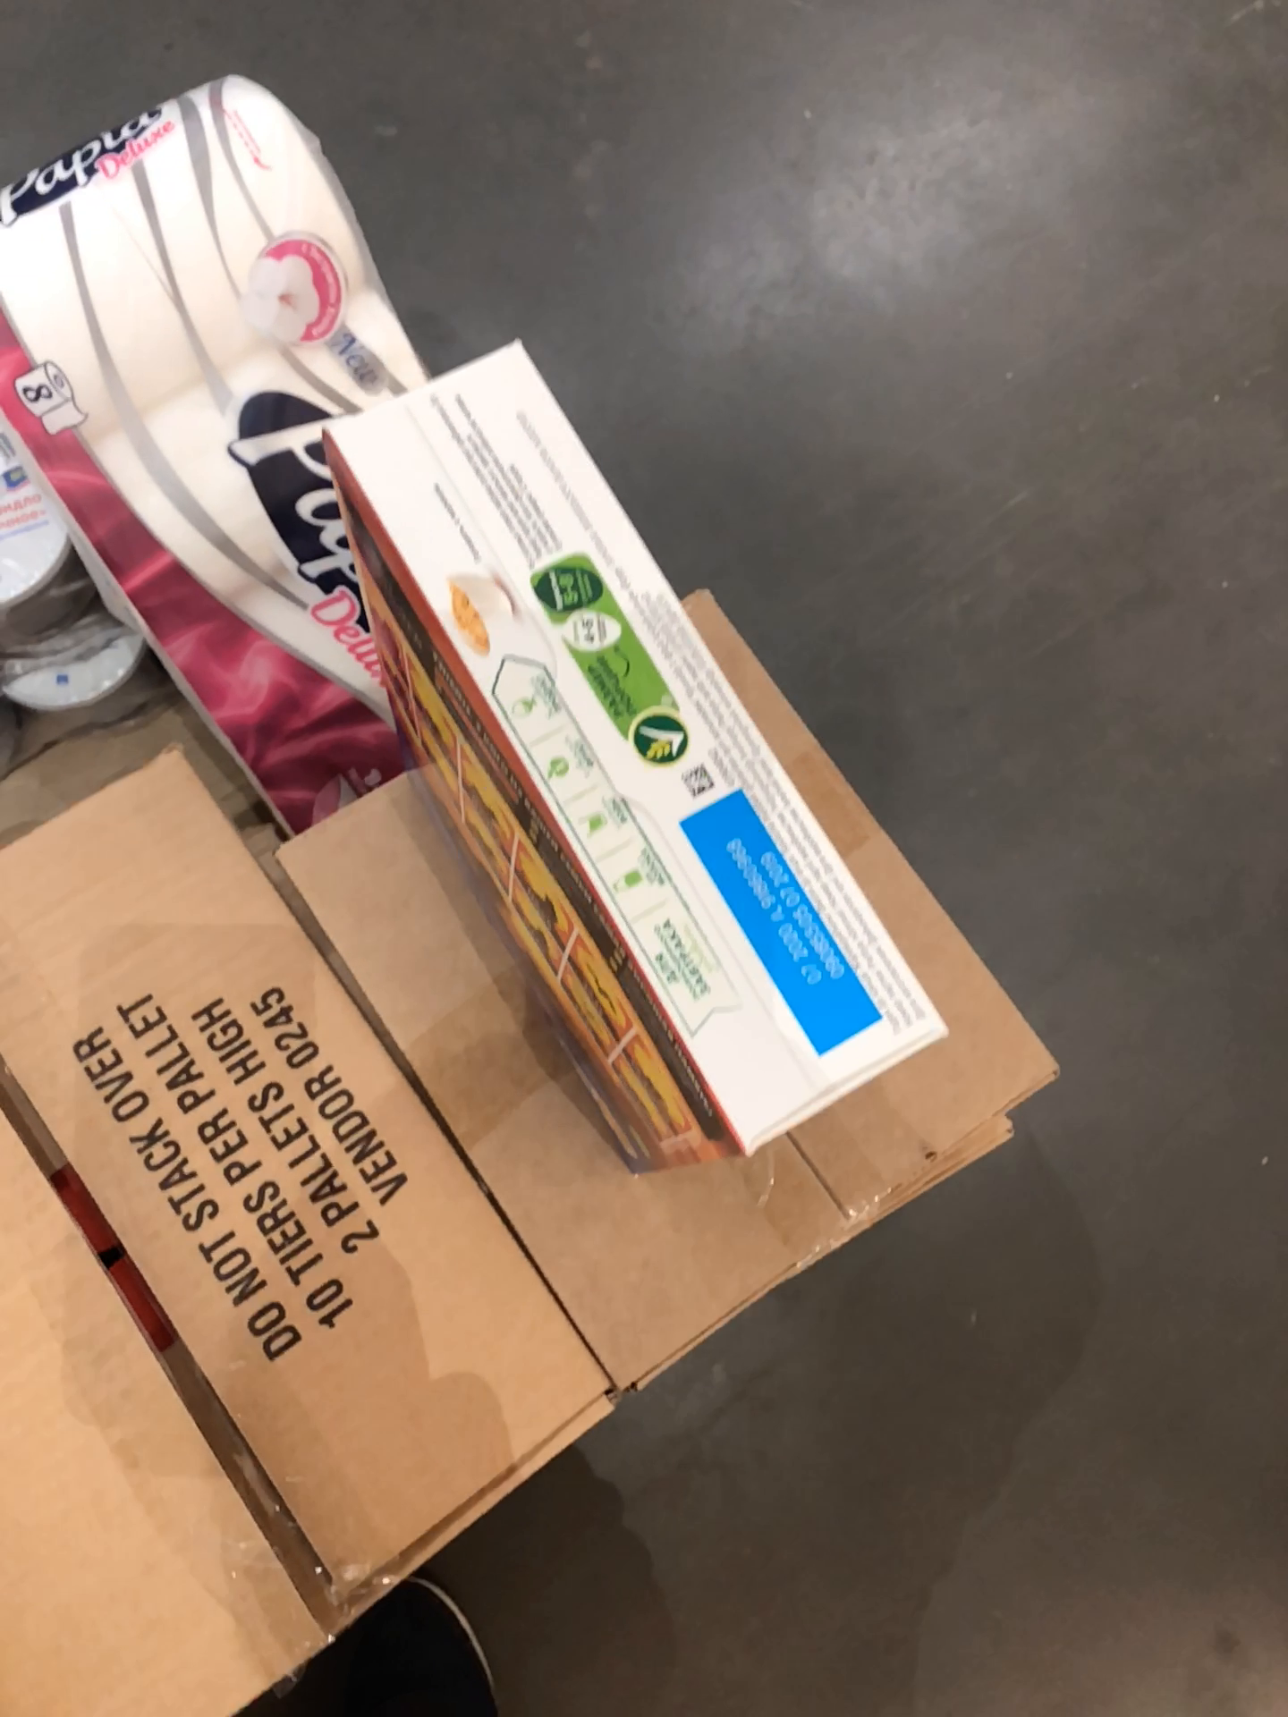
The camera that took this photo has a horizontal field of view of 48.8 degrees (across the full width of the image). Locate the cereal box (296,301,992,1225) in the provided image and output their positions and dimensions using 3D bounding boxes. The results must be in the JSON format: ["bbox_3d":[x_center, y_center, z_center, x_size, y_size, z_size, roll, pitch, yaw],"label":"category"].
[{"bbox_3d":[-0.016,0.003,0.439,0.060,0.279,0.200,-28,82,-11],"label":"cereal box"}]
